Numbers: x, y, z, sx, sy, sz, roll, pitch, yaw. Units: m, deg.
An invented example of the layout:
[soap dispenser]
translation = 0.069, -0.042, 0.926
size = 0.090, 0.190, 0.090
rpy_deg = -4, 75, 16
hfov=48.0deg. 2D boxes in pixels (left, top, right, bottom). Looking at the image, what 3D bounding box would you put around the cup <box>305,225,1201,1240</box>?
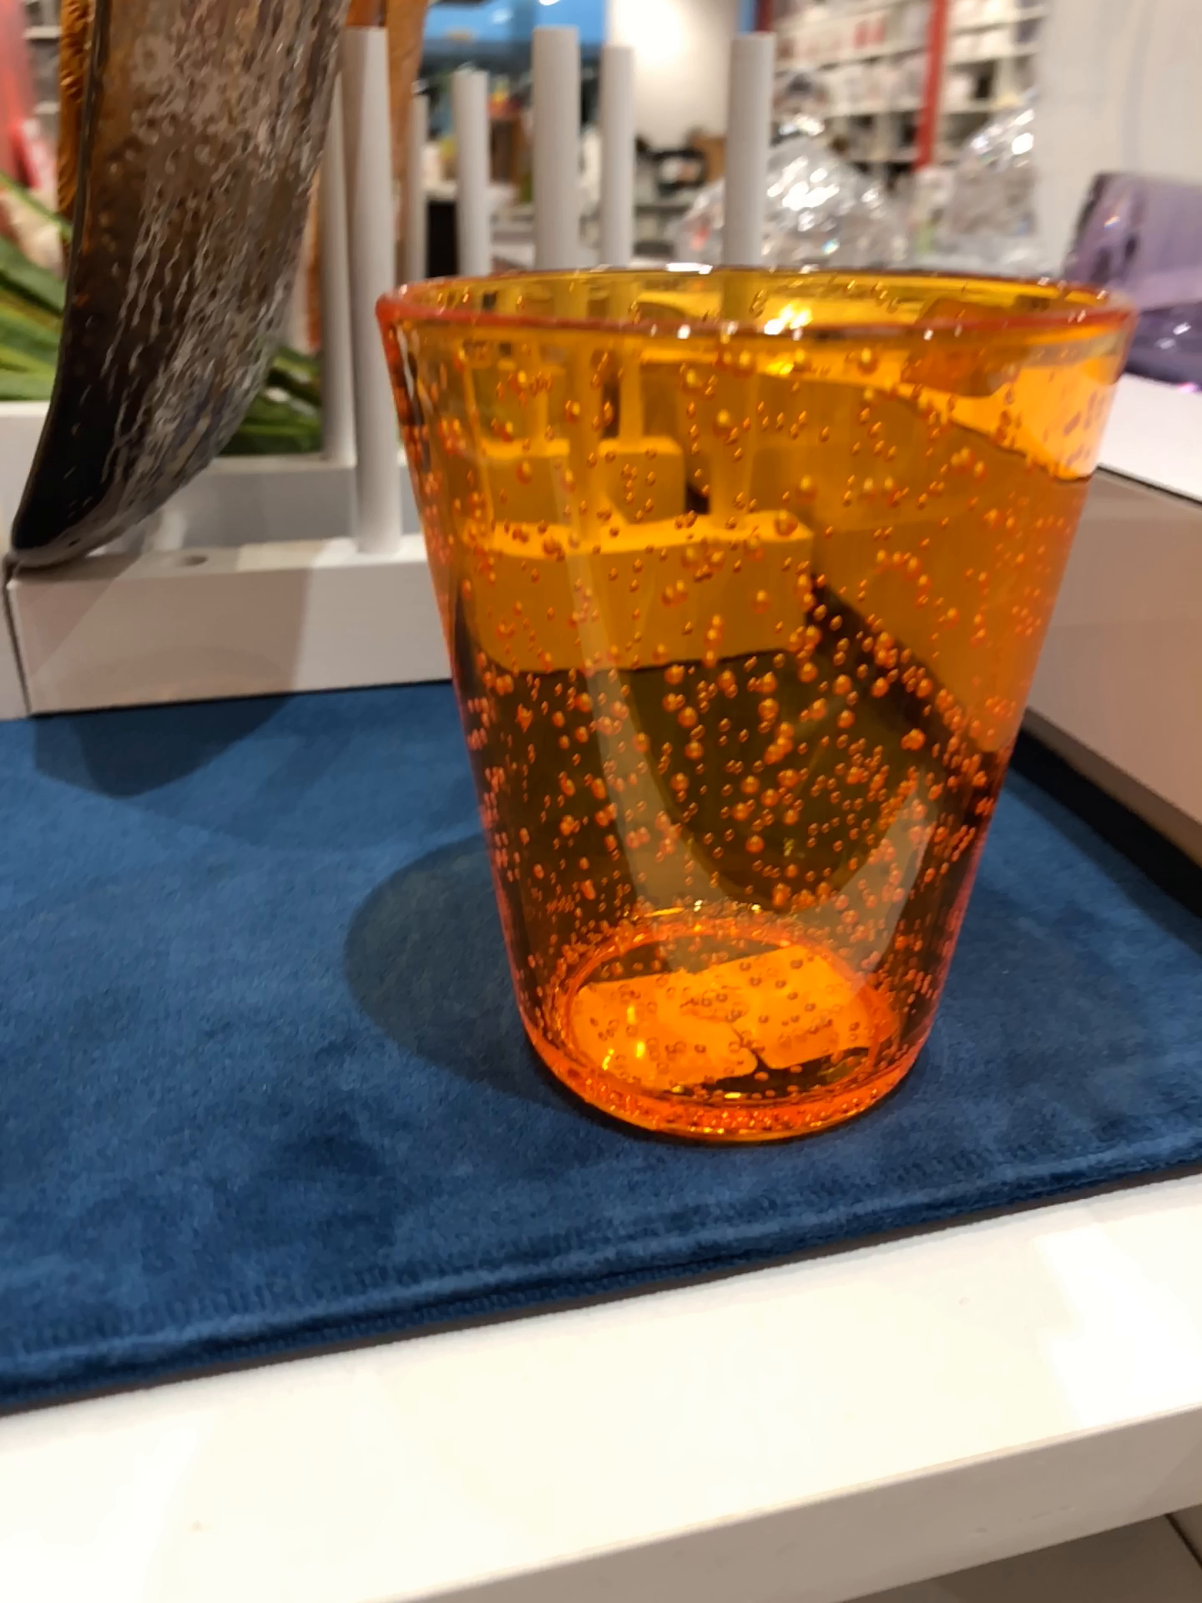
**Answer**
[cup]
translation = 0.018, -0.018, 0.160
size = 0.080, 0.090, 0.070
rpy_deg = -12, 28, -26
